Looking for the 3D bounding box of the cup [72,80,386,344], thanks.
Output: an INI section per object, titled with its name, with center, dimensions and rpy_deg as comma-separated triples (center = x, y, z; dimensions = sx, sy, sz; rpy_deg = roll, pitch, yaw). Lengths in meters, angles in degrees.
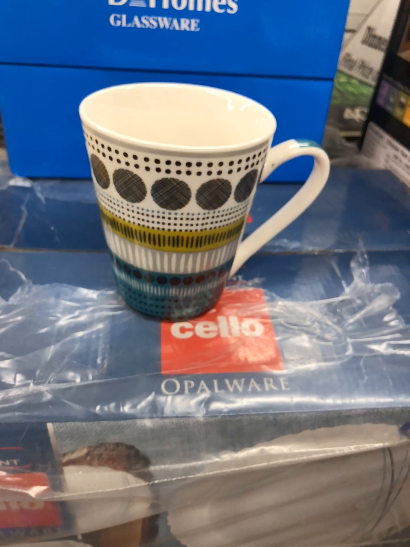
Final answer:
[cup]
center = 0.001, -0.036, 0.232
dimensions = 0.120, 0.089, 0.091
rpy_deg = -5, 41, -12
